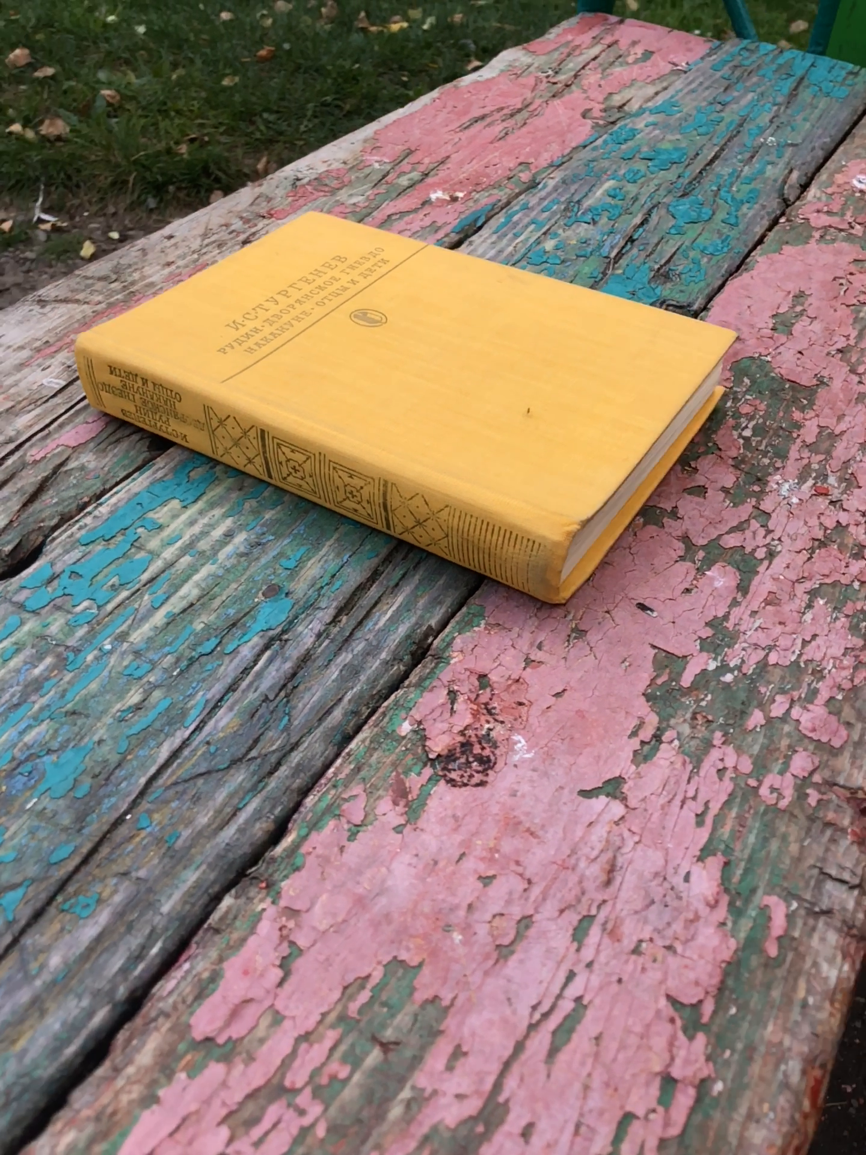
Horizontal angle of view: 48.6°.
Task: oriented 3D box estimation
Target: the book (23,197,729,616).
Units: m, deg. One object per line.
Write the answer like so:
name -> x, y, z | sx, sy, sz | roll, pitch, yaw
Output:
book -> -0.019, -0.083, 0.372 | 0.217, 0.032, 0.153 | 23, 47, 22
